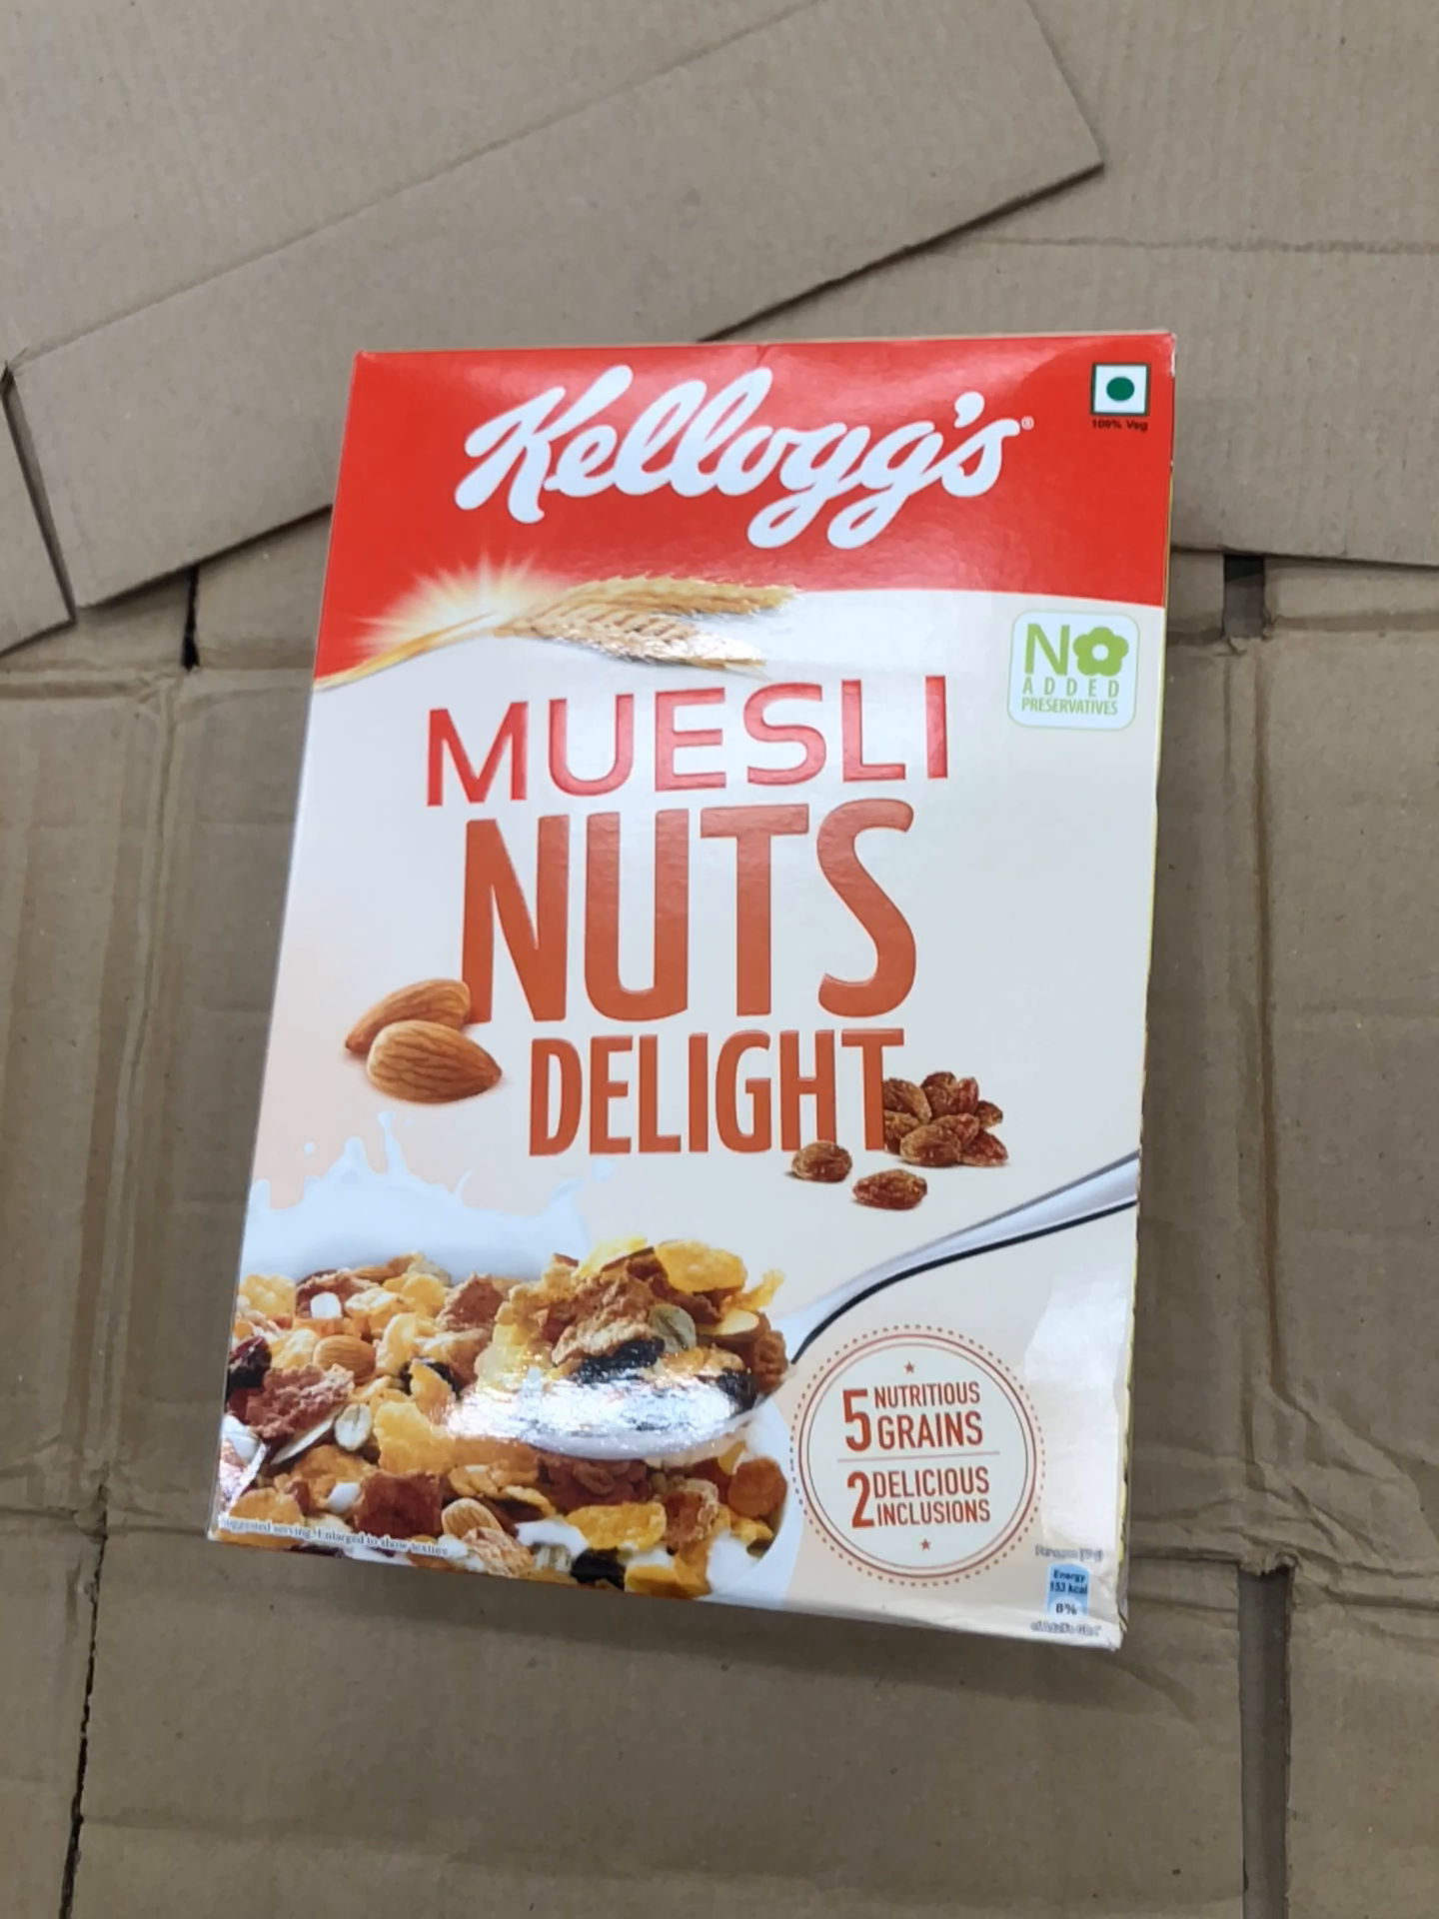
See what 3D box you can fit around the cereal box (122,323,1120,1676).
[{"bbox_3d":[-0.012,0.000,0.354,0.180,0.070,0.260,3,80,11],"label":"cereal box"}]
